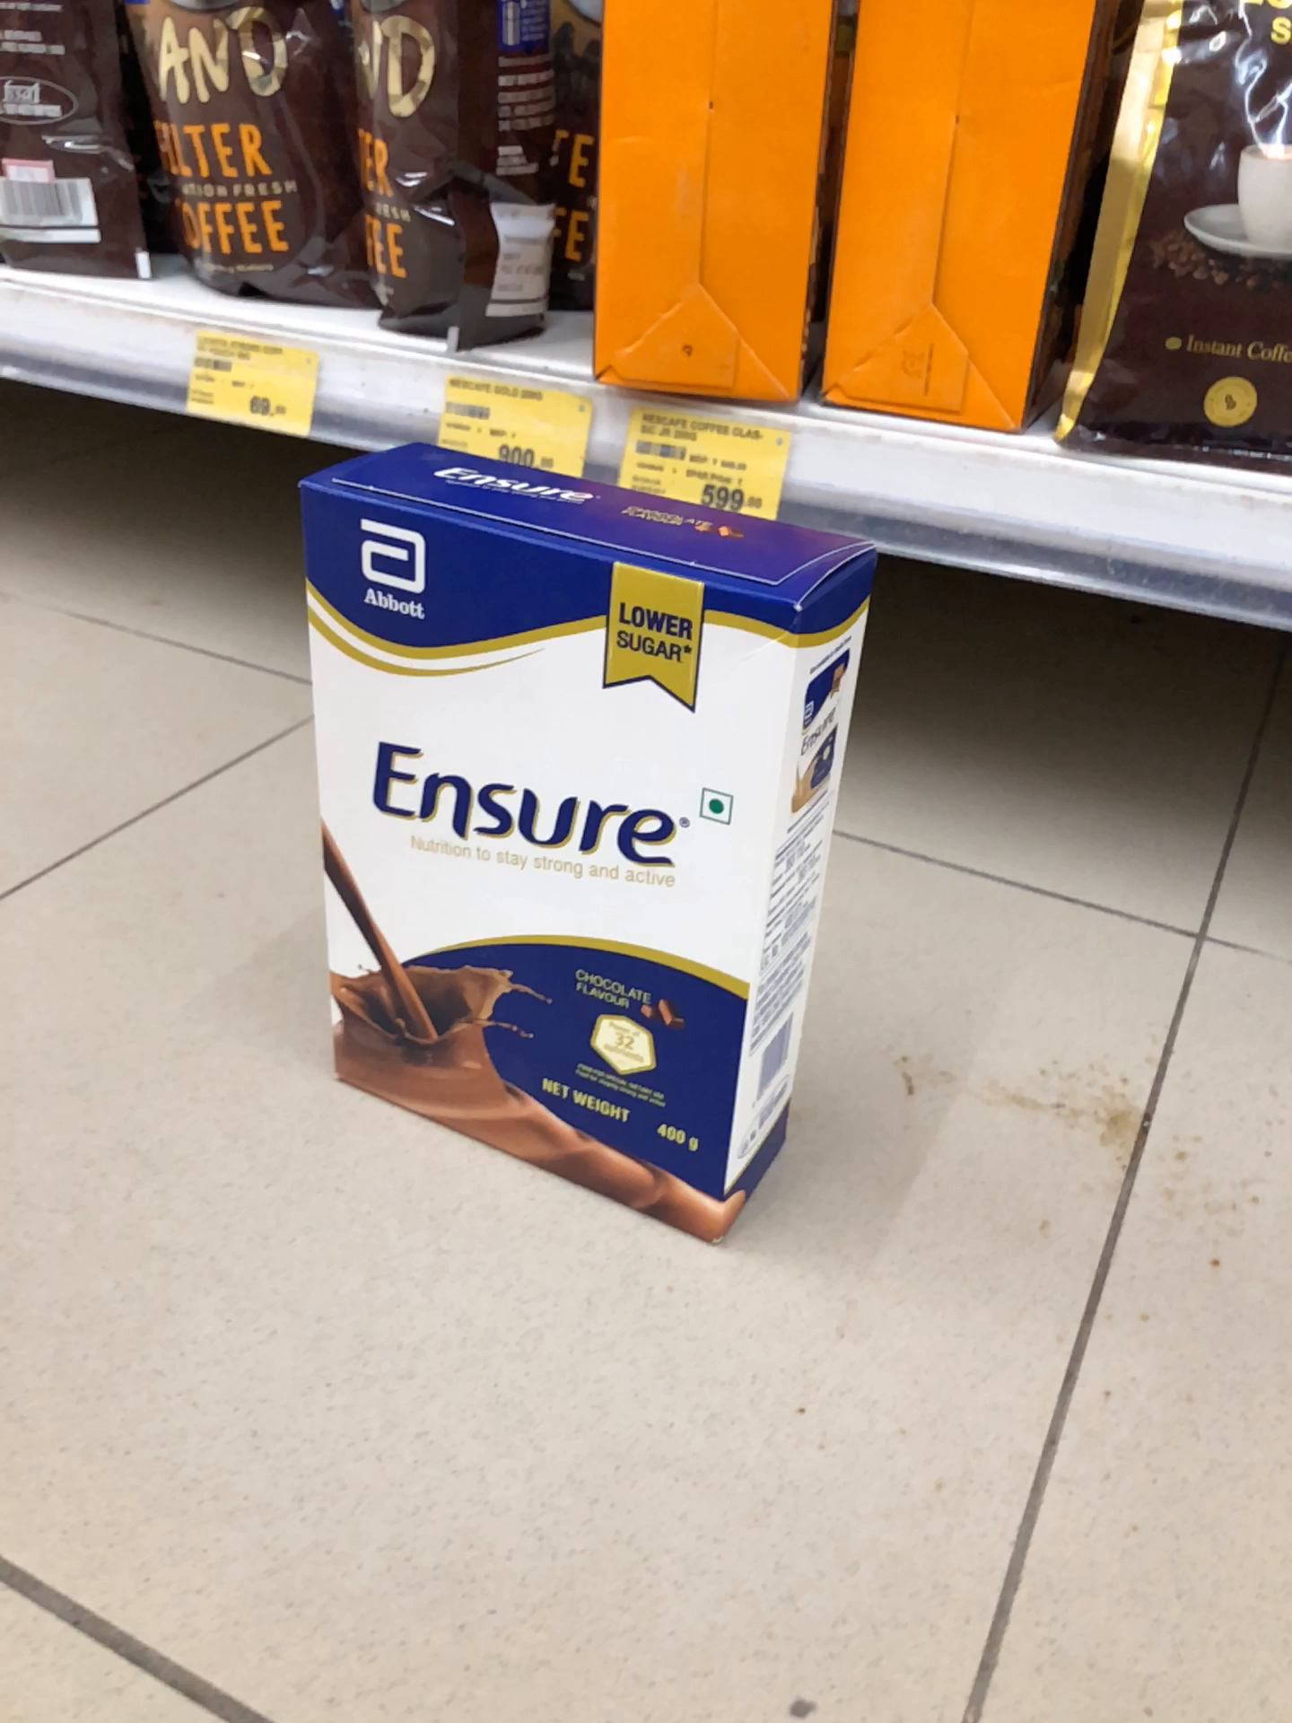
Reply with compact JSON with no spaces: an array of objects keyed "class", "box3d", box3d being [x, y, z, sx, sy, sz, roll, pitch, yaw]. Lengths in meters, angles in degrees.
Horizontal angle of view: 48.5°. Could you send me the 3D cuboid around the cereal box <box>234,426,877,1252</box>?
[{"class":"cereal box","box3d":[-0.025,-0.008,0.379,0.140,0.179,0.060,17,33,24]}]
